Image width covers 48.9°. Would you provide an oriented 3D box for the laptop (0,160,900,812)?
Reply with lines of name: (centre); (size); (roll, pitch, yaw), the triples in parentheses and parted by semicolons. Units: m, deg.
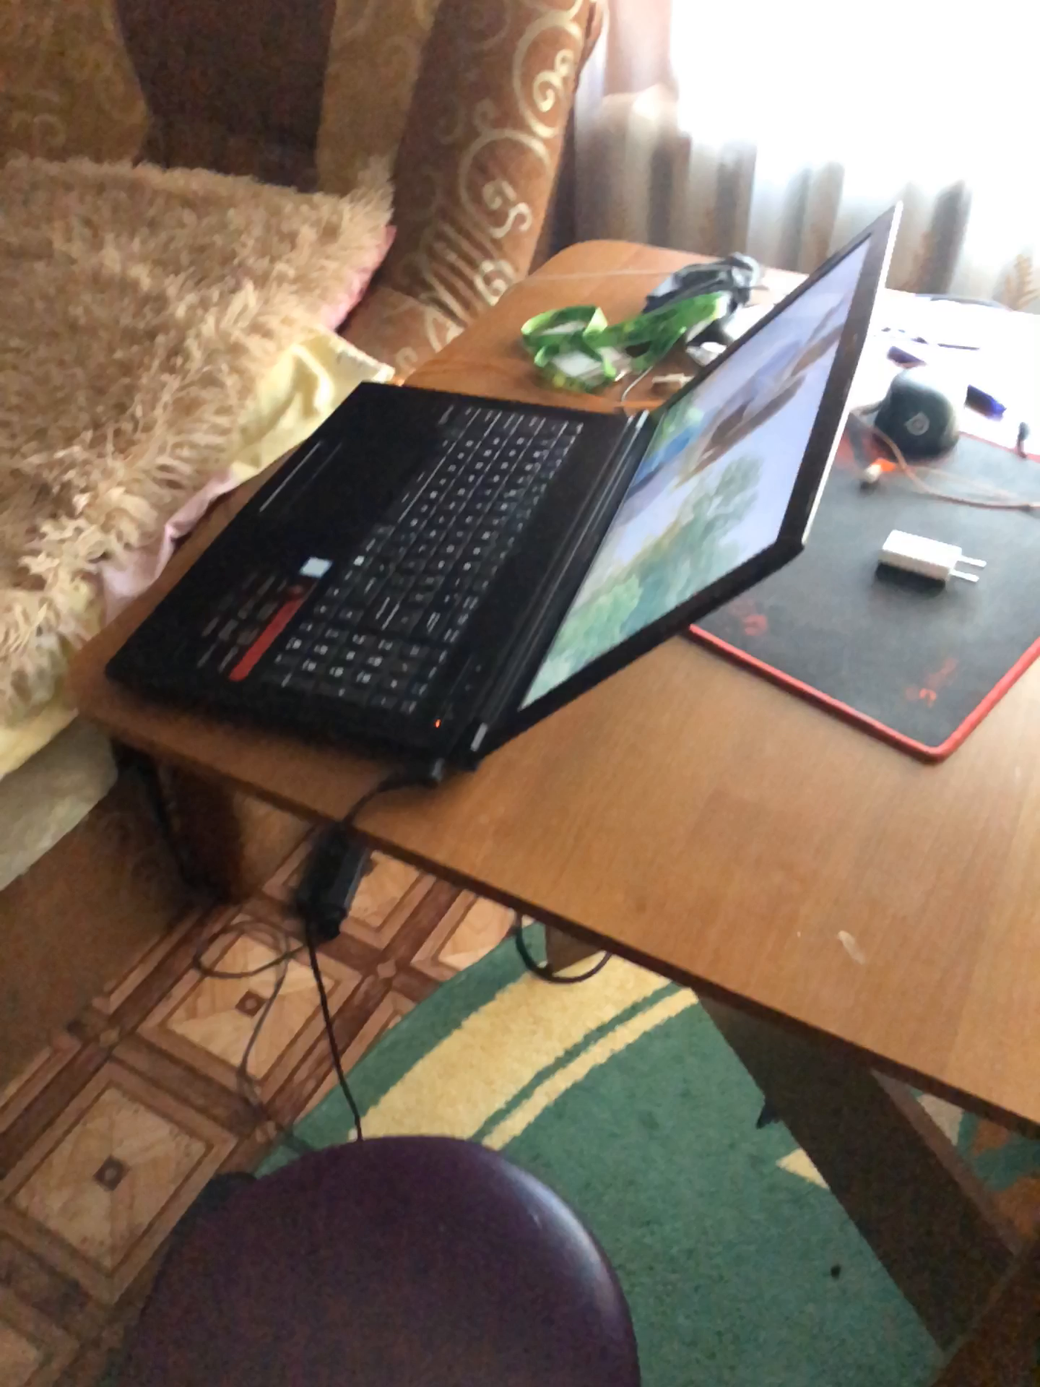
laptop: (-0.013, -0.165, 0.719); (0.409, 0.174, 0.375); (12, 46, 16)
